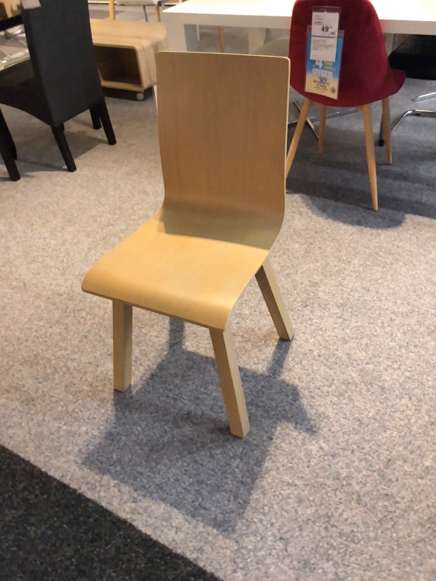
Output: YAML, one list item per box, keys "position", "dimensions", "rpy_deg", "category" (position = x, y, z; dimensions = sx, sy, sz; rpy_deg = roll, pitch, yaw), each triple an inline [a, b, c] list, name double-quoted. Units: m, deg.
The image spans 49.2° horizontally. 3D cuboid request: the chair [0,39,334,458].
- position: [-0.064, -0.101, 1.199]
  dimensions: [0.520, 0.835, 0.493]
  rpy_deg: [14, 45, 22]
  category: "chair"
